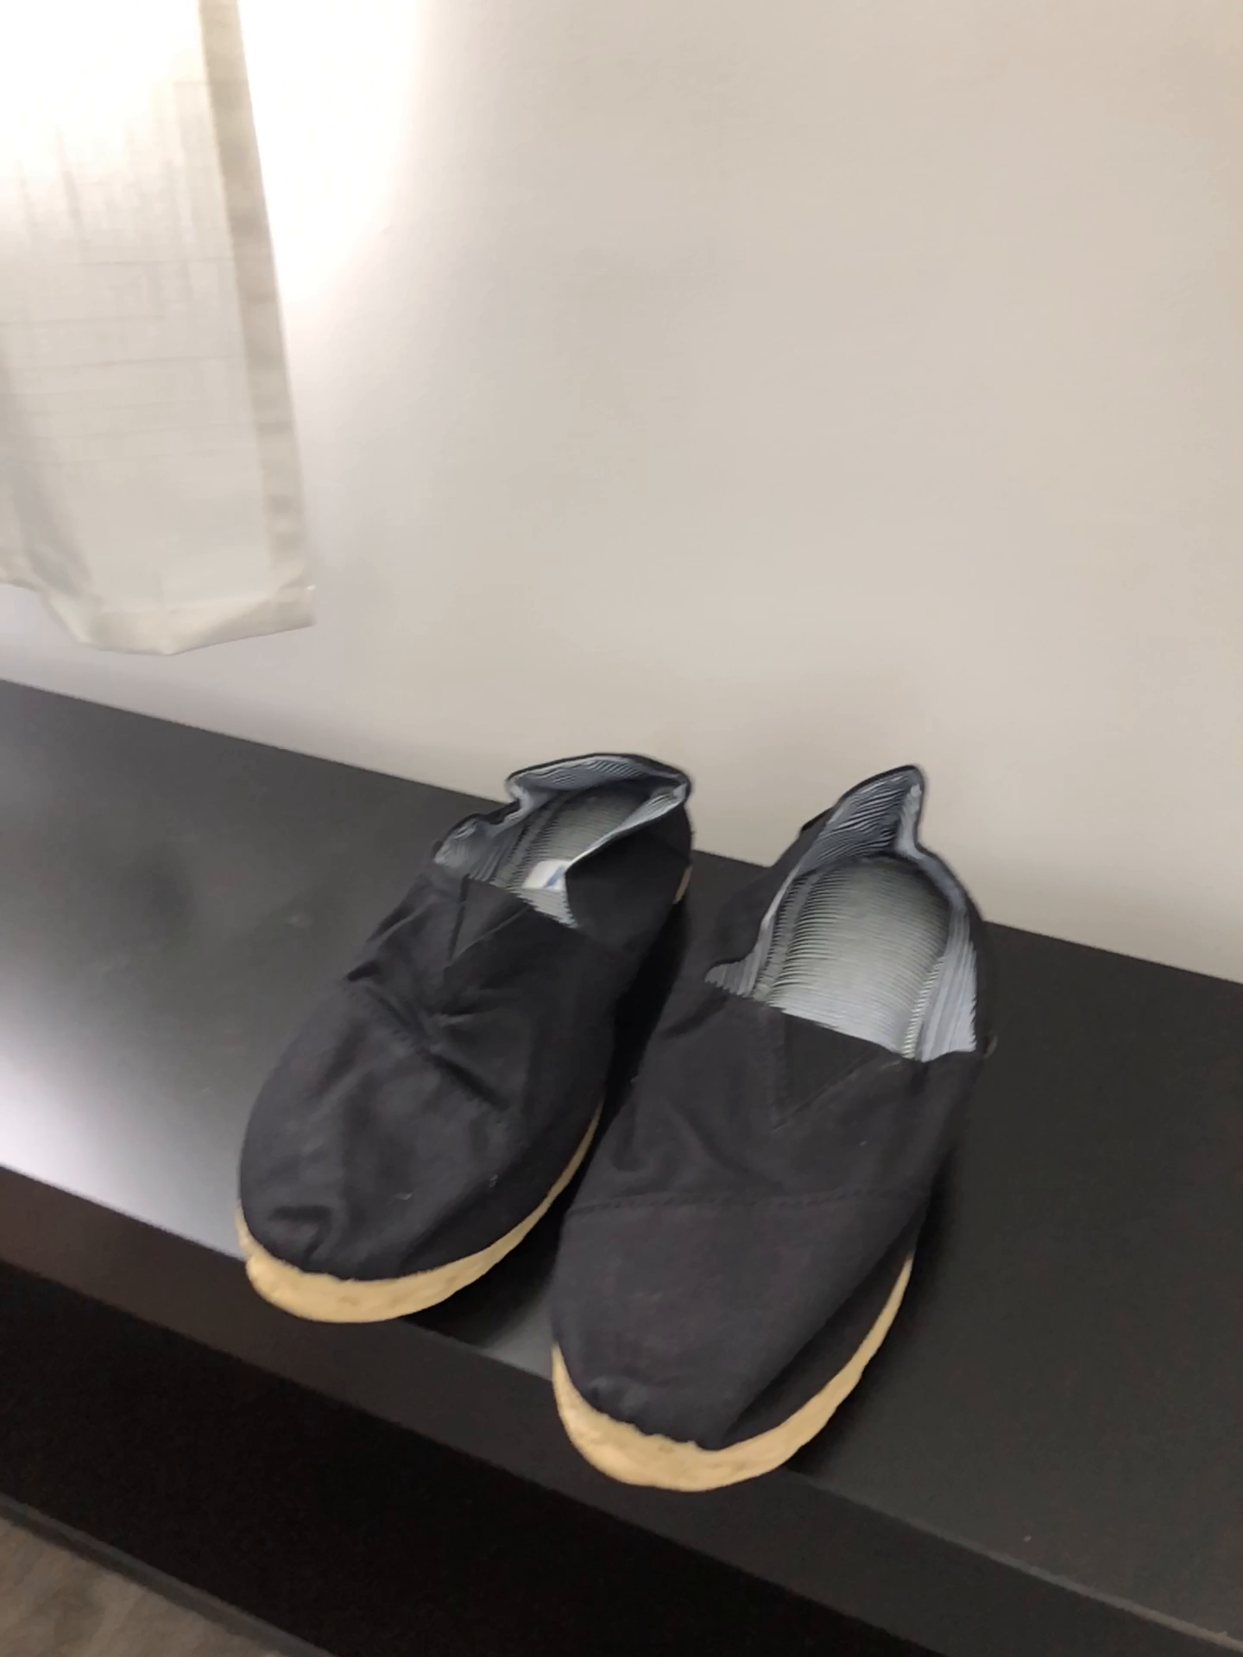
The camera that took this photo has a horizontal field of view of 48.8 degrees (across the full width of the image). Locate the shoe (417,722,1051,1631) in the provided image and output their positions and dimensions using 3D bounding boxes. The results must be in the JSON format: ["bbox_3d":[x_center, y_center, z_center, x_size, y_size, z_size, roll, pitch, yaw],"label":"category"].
[{"bbox_3d":[0.053,0.073,0.418,0.101,0.080,0.274,14,35,18],"label":"shoe"}]

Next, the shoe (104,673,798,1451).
[{"bbox_3d":[-0.032,0.049,0.459,0.101,0.080,0.274,14,35,18],"label":"shoe"}]
